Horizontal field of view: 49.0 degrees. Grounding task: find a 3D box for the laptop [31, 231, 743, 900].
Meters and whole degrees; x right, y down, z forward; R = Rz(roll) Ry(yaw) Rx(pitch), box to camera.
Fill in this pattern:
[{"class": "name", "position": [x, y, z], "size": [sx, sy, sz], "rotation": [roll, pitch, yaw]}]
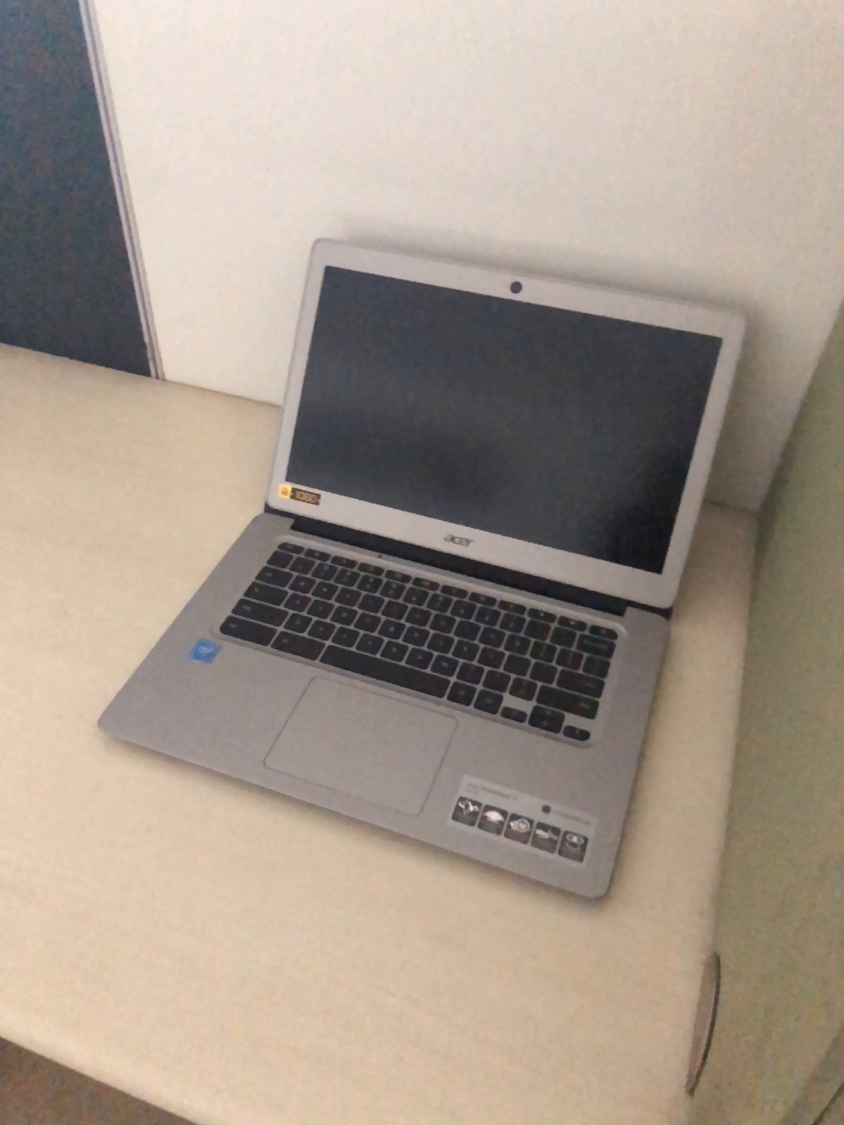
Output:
[{"class": "laptop", "position": [0.010, -0.036, 0.621], "size": [0.322, 0.168, 0.367], "rotation": [15, 46, 13]}]
